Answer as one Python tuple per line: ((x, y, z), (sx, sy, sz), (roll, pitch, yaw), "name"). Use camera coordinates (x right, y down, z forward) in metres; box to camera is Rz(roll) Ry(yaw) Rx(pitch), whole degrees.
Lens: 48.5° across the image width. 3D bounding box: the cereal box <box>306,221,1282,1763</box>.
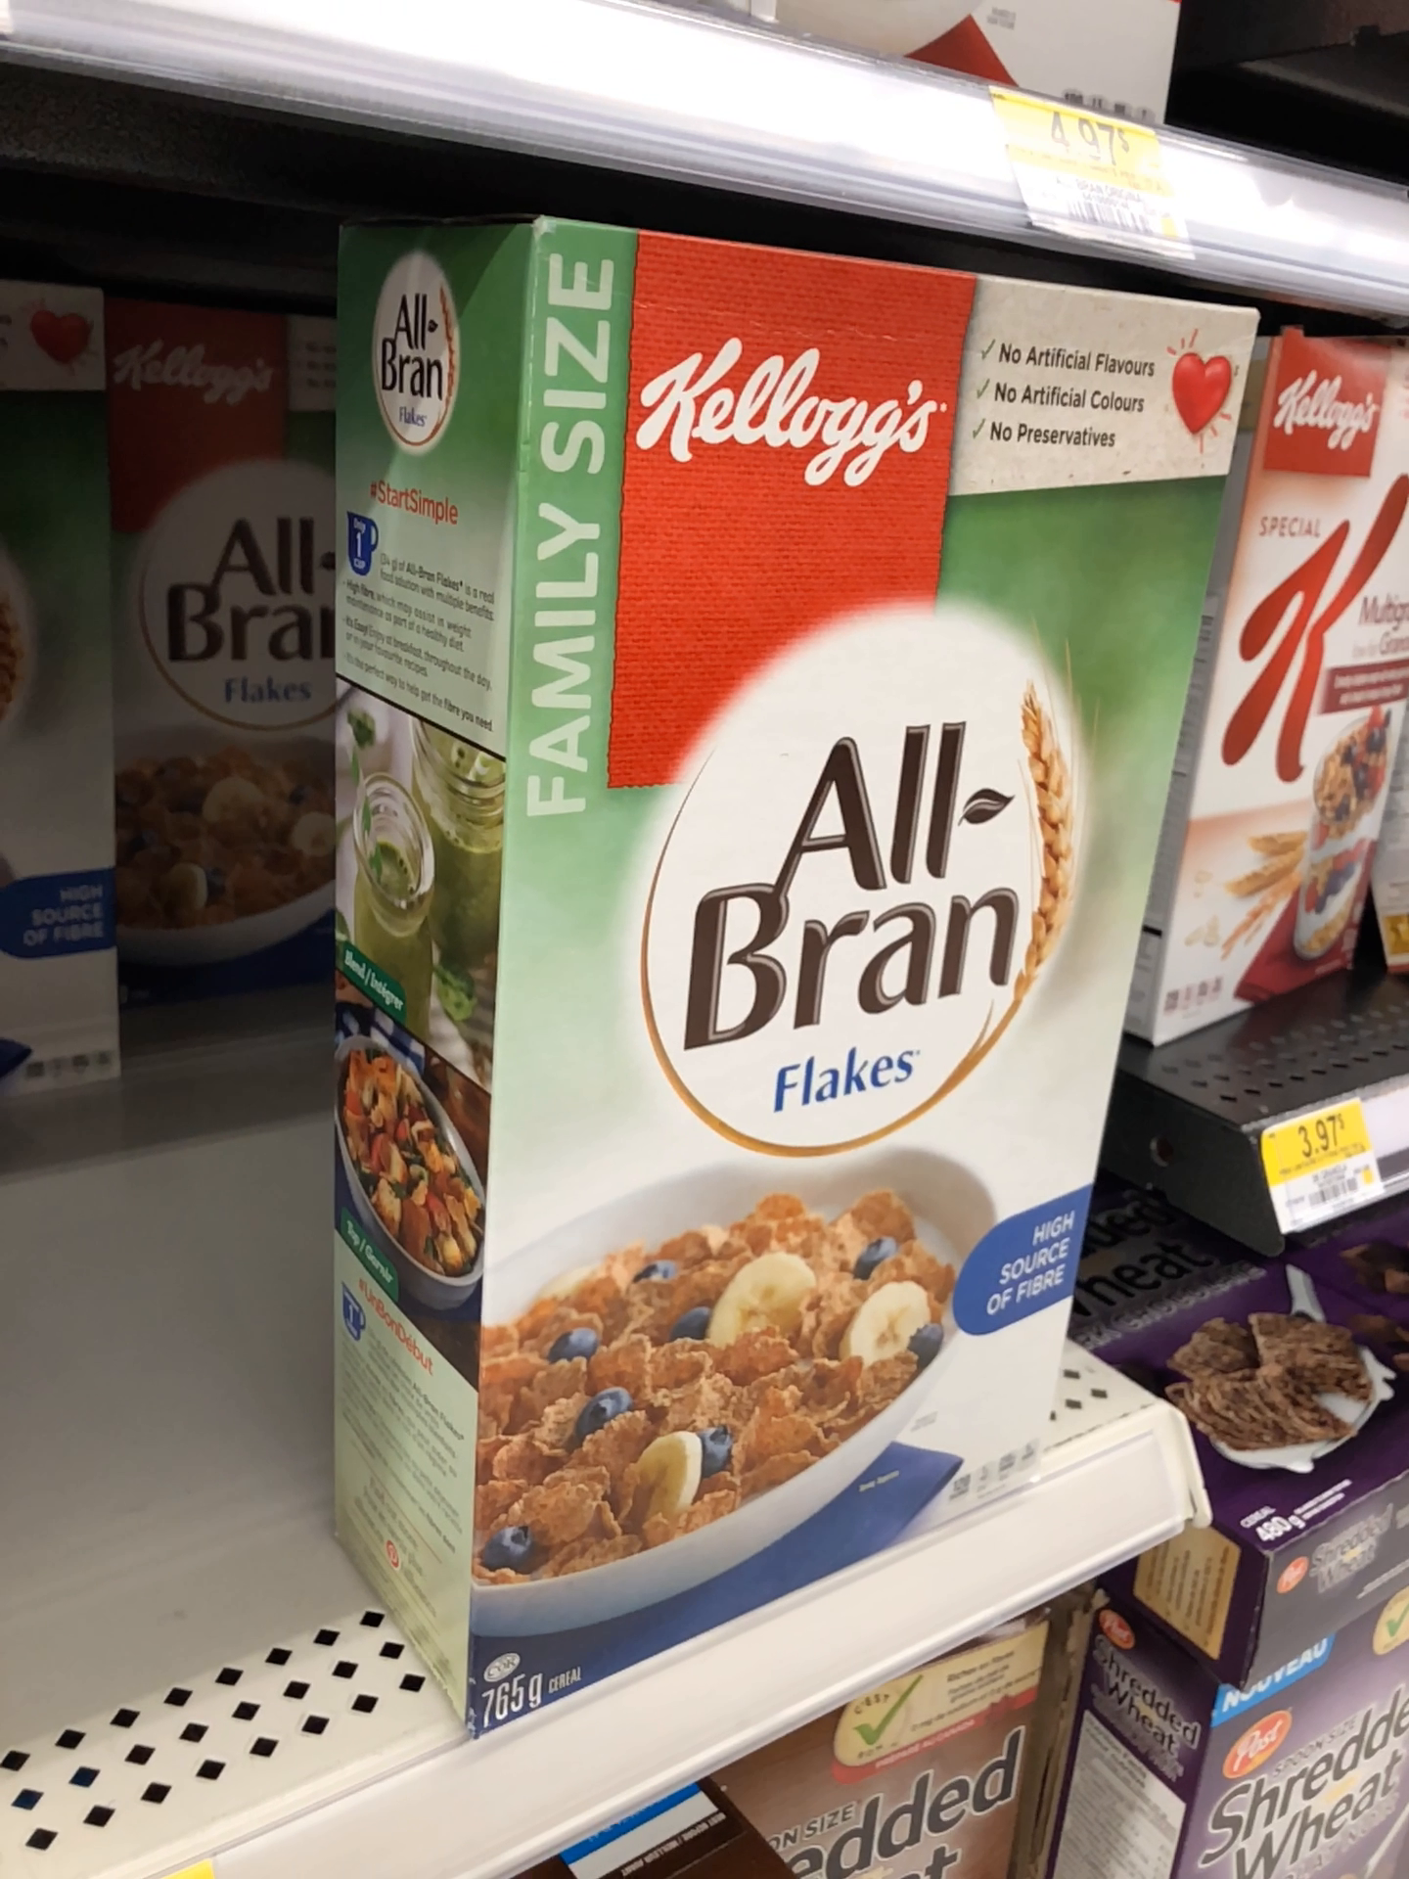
((0.017, 0.008, 0.392), (0.210, 0.318, 0.080), (-9, 22, -35), "cereal box")
